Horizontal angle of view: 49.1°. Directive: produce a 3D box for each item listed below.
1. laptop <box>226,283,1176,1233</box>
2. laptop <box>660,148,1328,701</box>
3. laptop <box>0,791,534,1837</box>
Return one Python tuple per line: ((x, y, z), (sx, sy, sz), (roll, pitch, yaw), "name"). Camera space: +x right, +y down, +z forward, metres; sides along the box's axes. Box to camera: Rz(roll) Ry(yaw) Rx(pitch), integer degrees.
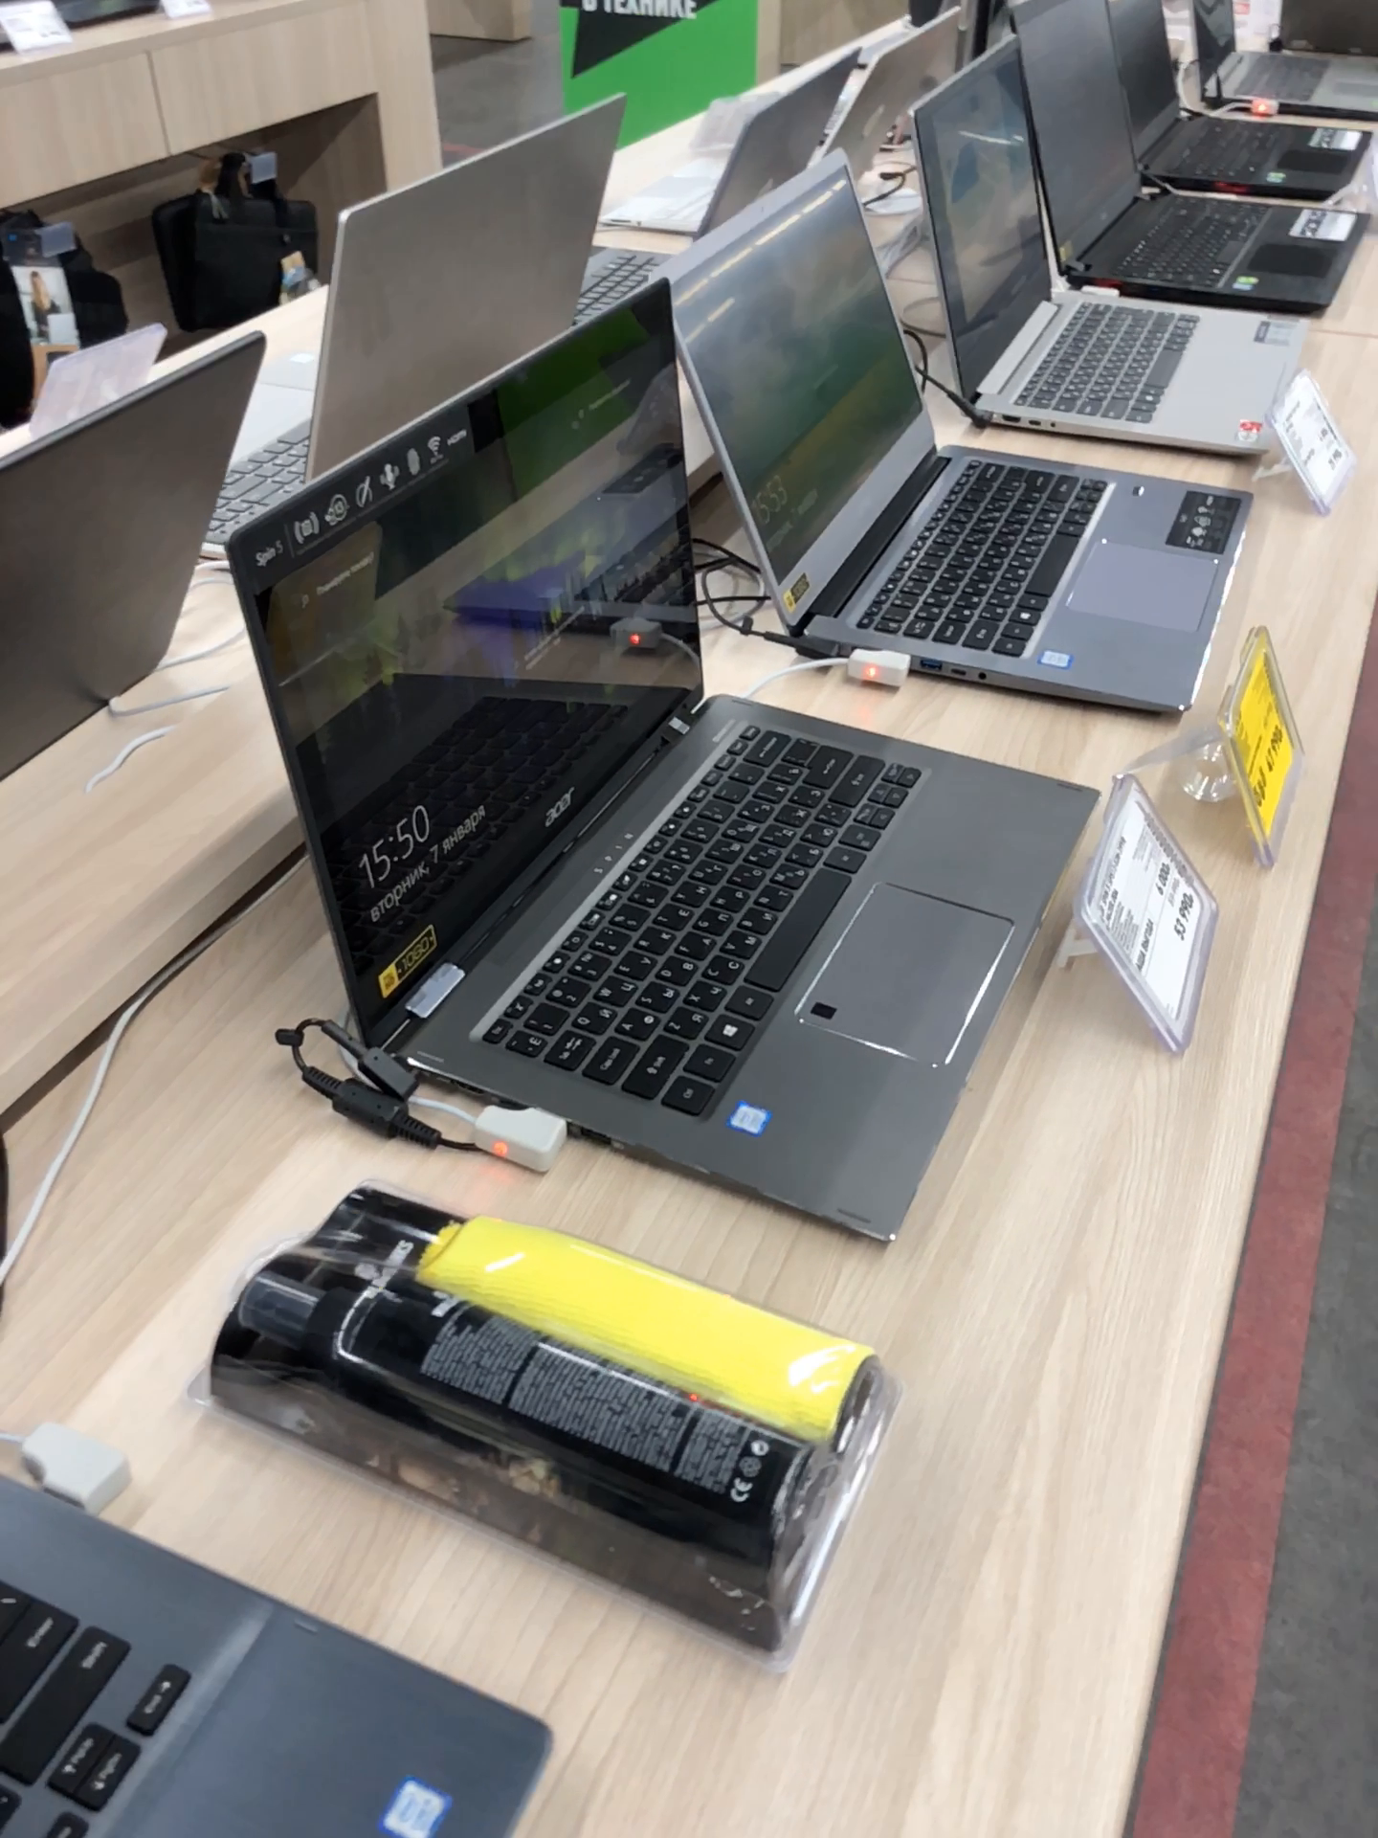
((0.027, -0.094, 0.628), (0.245, 0.215, 0.316), (17, 41, 19), "laptop")
((0.182, -0.311, 0.908), (0.298, 0.196, 0.271), (15, 42, 18), "laptop")
((-0.238, 0.196, 0.257), (0.288, 0.215, 0.341), (16, 42, 18), "laptop")
